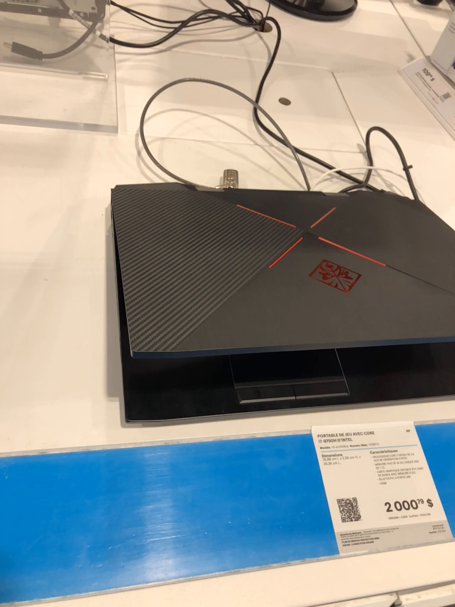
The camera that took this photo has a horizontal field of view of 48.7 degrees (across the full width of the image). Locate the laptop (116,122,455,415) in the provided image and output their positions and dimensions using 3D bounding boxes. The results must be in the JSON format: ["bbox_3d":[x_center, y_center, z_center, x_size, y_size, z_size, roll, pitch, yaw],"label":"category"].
[{"bbox_3d":[0.085,-0.038,0.454,0.346,0.085,0.235,-1,56,-15],"label":"laptop"}]
